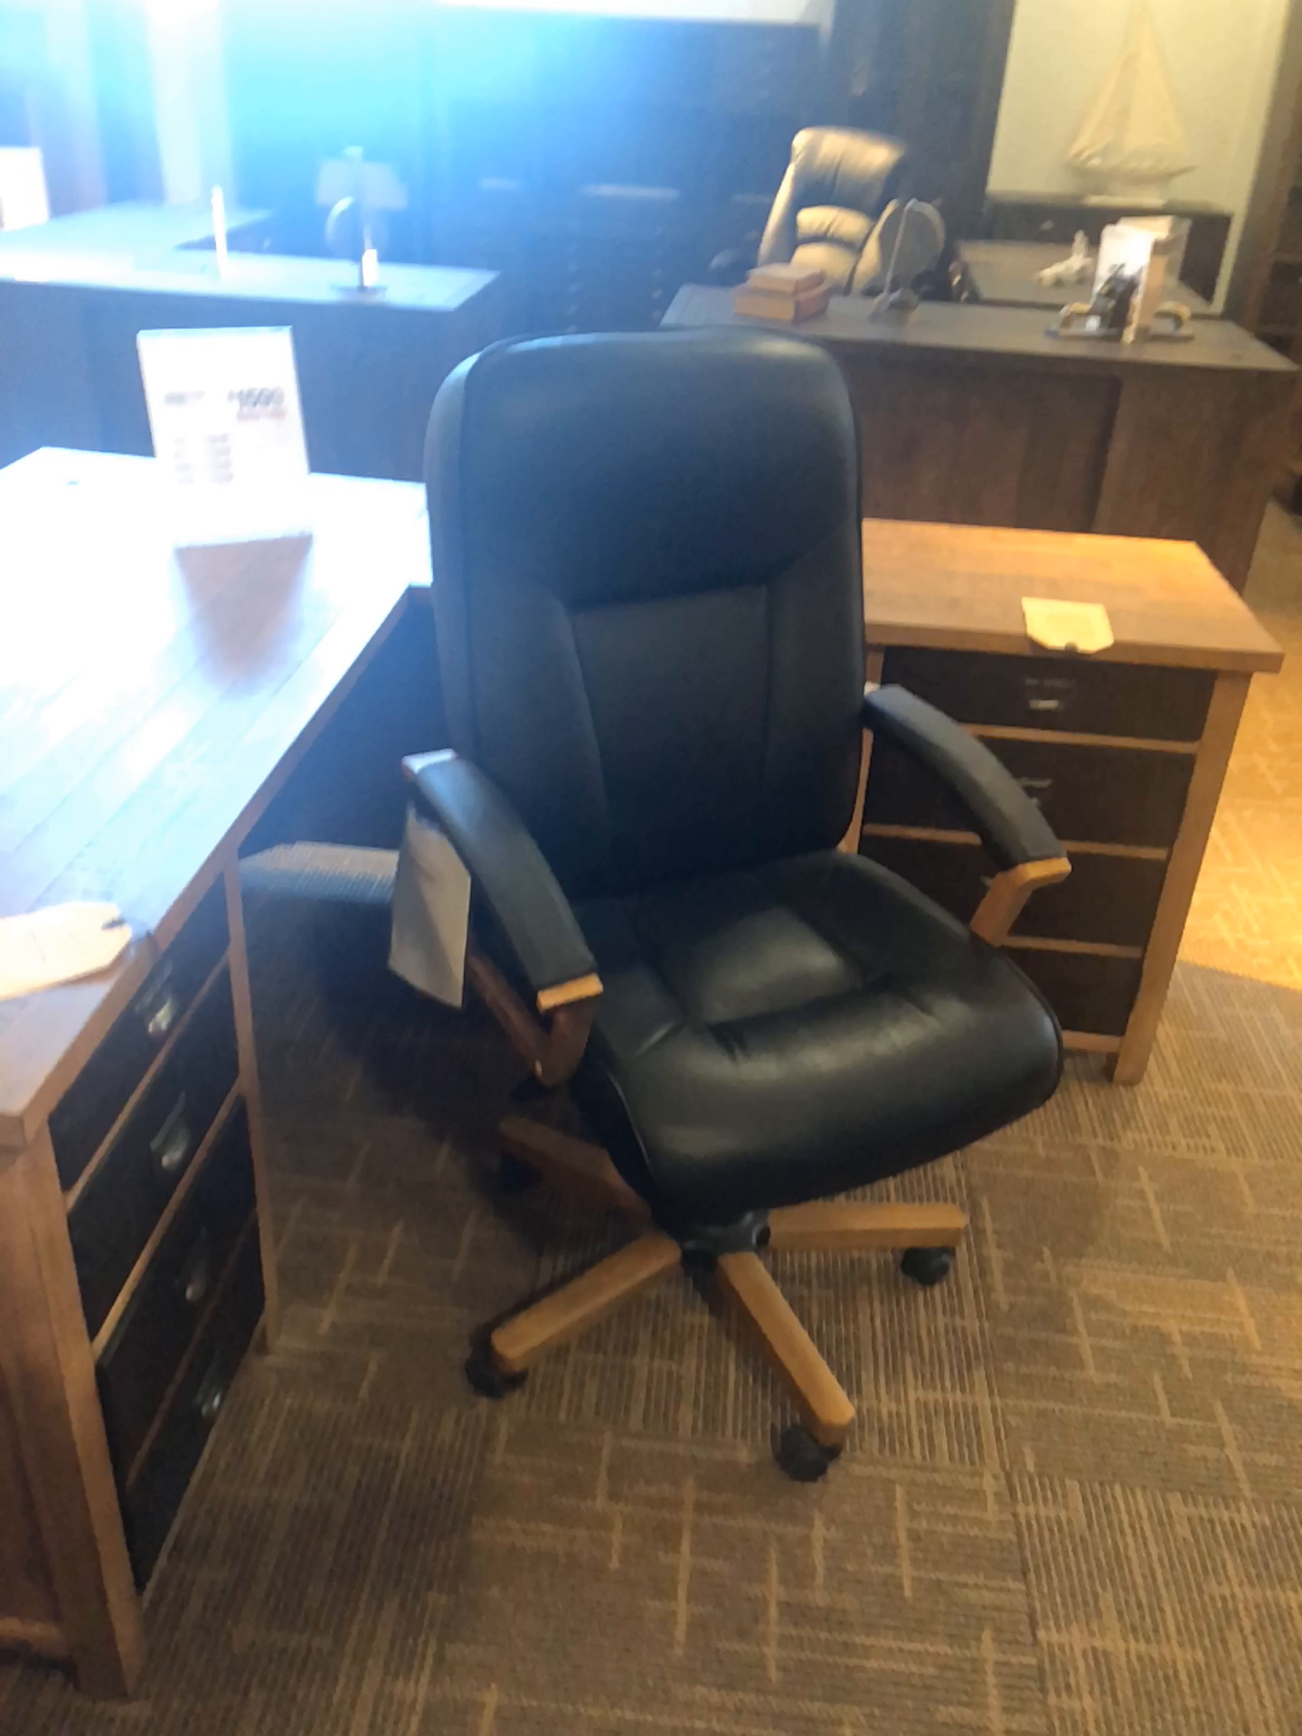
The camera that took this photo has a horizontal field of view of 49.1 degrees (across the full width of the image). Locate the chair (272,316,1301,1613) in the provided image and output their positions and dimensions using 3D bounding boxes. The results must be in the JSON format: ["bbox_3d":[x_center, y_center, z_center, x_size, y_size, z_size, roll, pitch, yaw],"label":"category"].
[{"bbox_3d":[0.068,0.036,1.603,0.738,1.104,0.746,-10,33,-23],"label":"chair"}]
